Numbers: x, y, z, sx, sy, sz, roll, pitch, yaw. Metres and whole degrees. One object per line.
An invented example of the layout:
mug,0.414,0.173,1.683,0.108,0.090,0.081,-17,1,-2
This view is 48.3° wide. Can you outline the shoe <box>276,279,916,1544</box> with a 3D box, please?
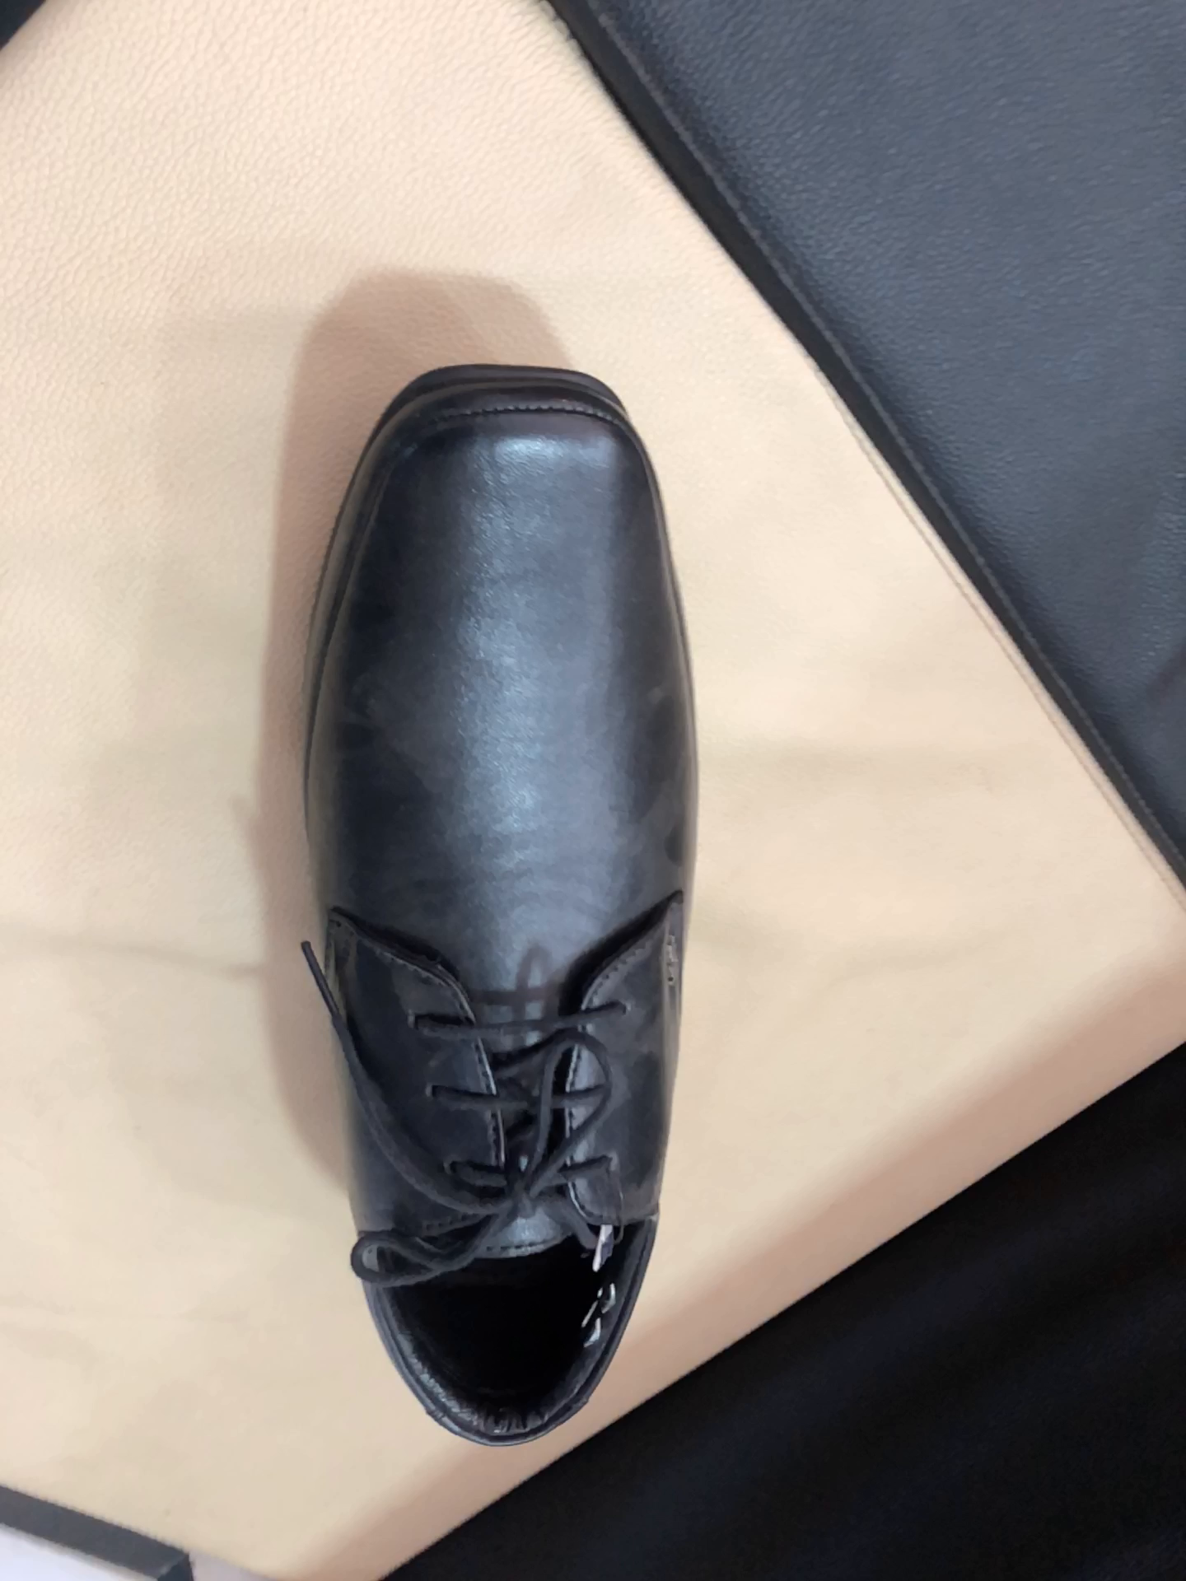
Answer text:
shoe,-0.018,0.043,0.286,0.090,0.080,0.271,-1,122,-12
